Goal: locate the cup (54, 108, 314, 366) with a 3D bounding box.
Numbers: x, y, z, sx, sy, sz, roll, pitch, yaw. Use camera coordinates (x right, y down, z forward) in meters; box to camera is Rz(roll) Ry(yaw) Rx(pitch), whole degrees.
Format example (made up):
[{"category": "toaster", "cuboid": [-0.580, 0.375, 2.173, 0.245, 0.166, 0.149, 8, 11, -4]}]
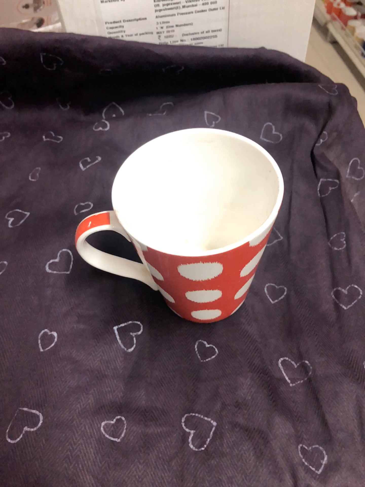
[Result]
[{"category": "cup", "cuboid": [-0.004, -0.002, 0.246, 0.110, 0.099, 0.090, -14, 54, -9]}]
